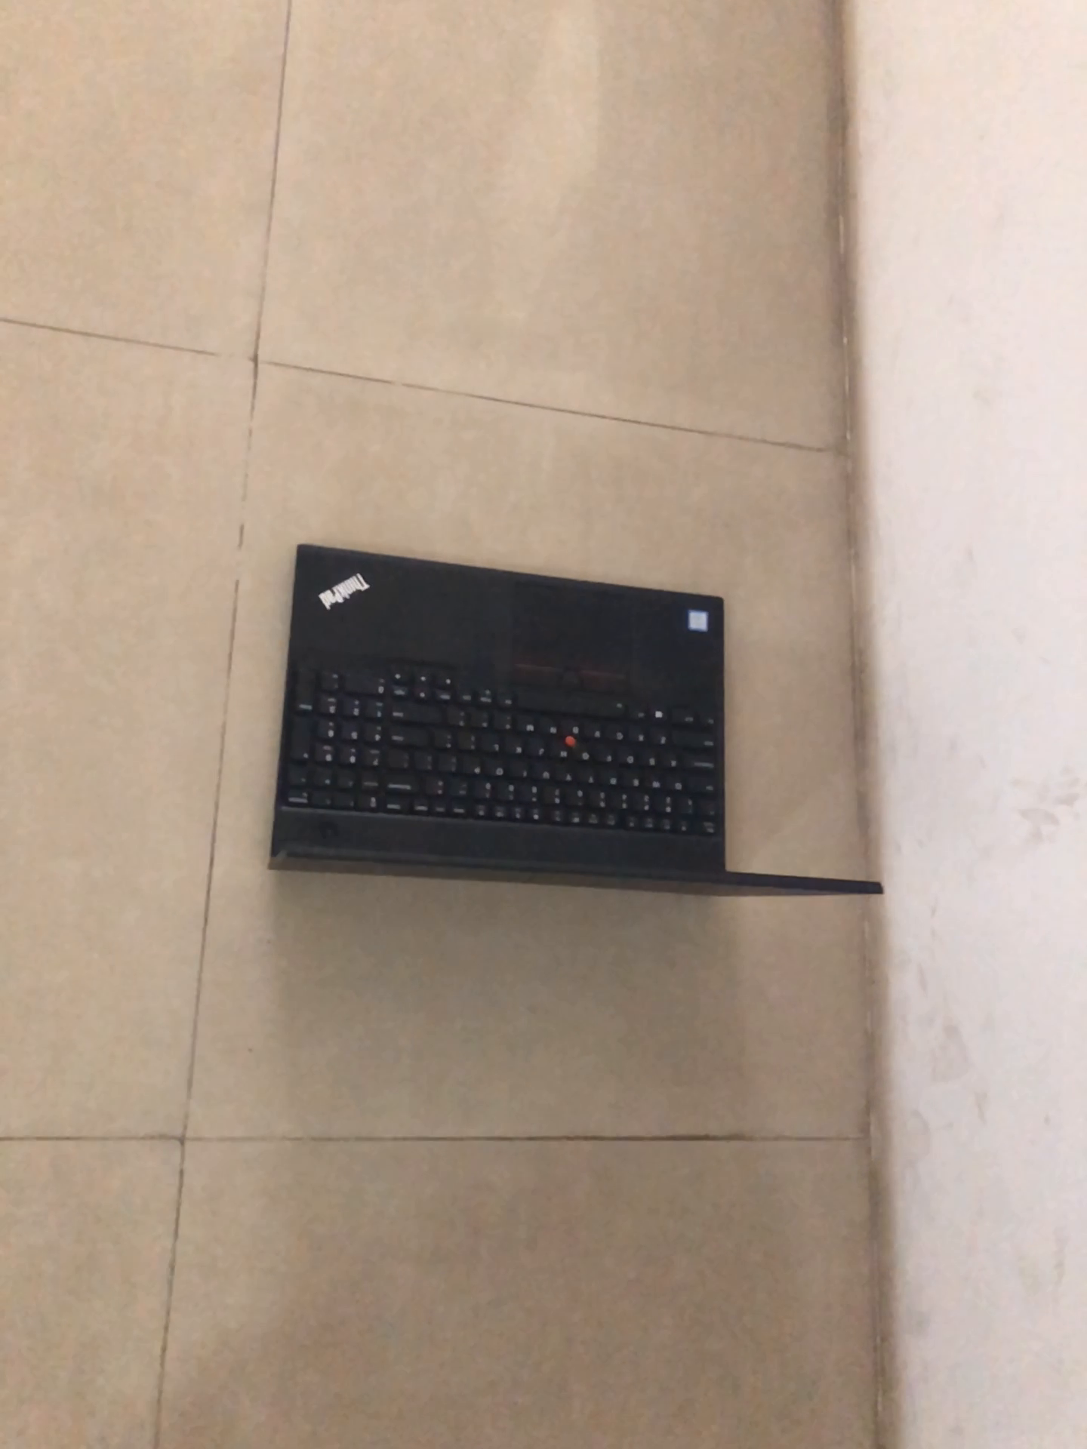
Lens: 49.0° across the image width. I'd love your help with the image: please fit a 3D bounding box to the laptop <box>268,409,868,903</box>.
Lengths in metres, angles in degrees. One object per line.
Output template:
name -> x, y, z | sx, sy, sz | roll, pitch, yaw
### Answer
laptop -> 0.007, -0.020, 0.835 | 0.353, 0.241, 0.255 | 6, 77, -15
